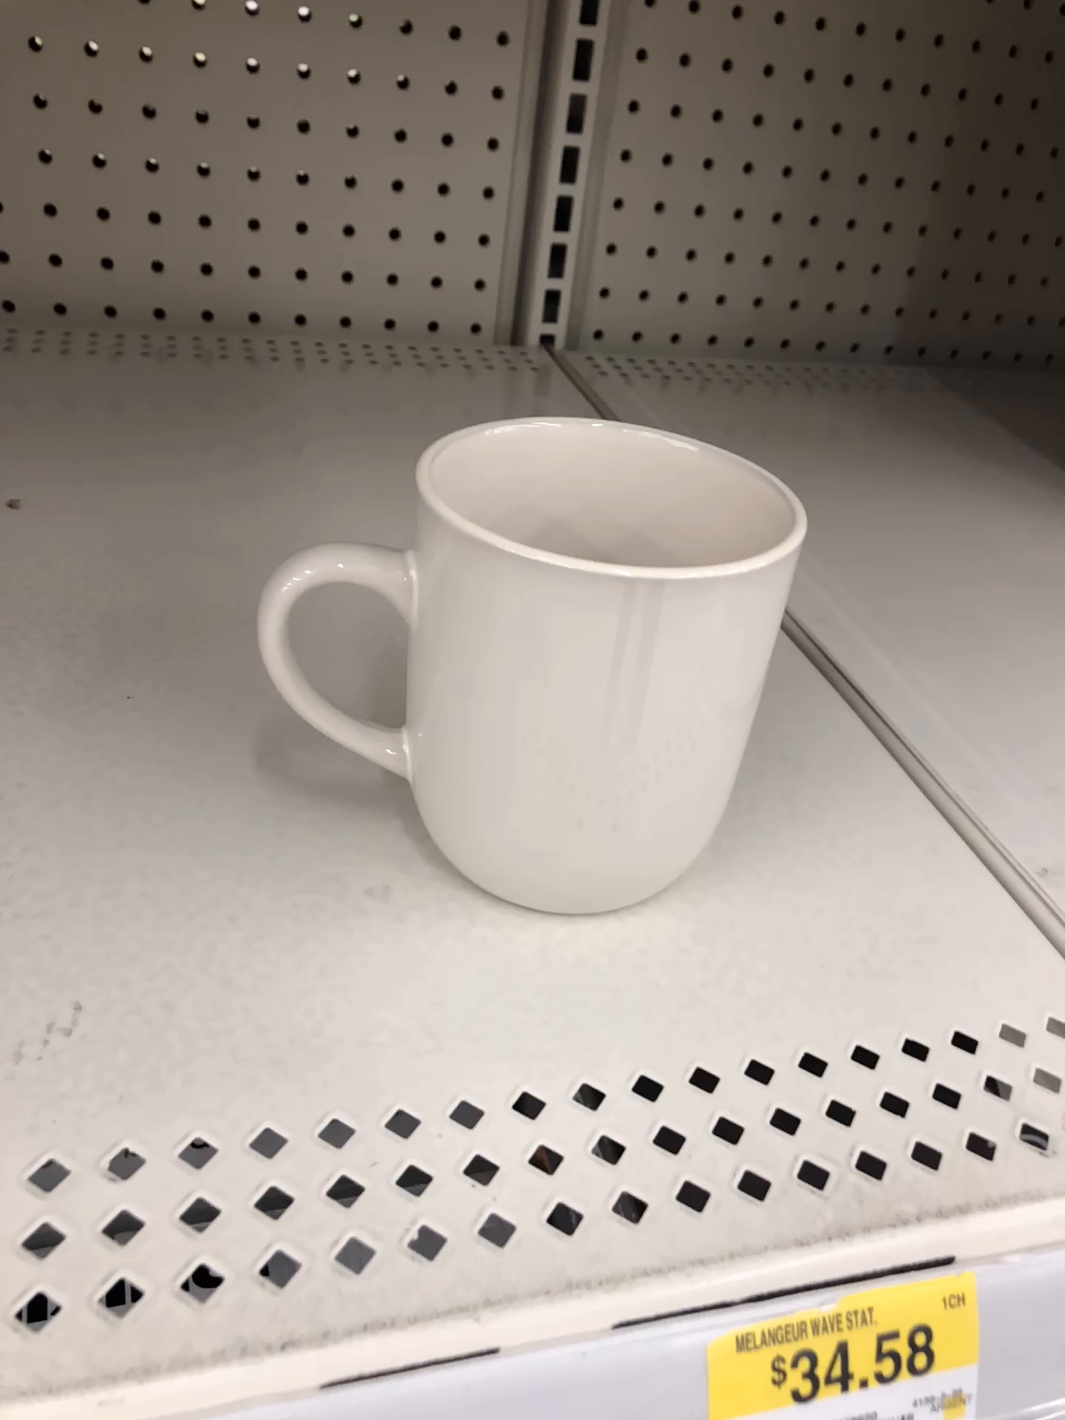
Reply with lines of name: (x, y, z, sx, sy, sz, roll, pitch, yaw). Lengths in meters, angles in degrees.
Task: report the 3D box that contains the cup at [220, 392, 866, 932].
cup: (-0.006, -0.013, 0.277, 0.121, 0.090, 0.087, 1, 31, -10)
